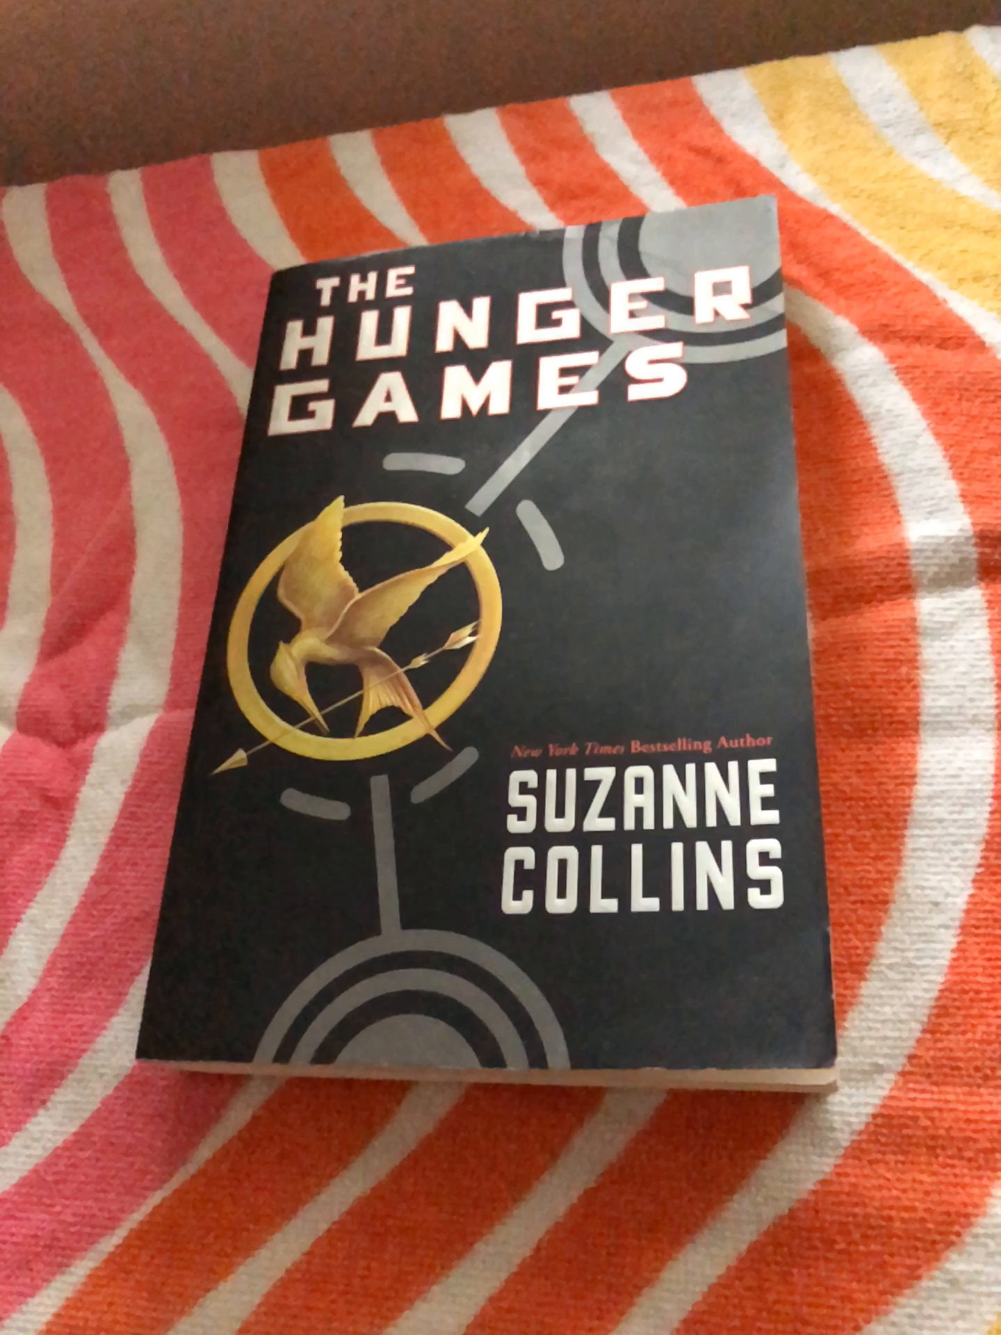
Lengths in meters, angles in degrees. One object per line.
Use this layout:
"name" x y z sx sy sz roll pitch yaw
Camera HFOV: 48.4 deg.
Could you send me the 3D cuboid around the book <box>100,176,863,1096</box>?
"book" 0.001 -0.014 0.253 0.138 0.037 0.201 -3 64 13
